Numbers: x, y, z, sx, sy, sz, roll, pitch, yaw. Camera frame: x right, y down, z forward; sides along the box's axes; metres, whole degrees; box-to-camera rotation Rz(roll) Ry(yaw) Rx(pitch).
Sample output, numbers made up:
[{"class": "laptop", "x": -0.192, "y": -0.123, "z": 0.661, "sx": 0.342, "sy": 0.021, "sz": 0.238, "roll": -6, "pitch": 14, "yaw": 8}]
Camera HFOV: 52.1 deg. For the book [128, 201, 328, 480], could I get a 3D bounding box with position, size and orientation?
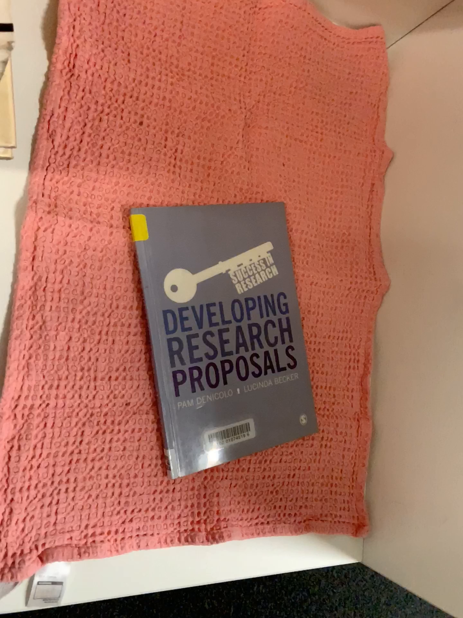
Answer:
[{"class": "book", "x": 0.004, "y": 0.018, "z": 0.438, "sx": 0.166, "sy": 0.015, "sz": 0.230, "roll": -8, "pitch": 90, "yaw": -27}]
